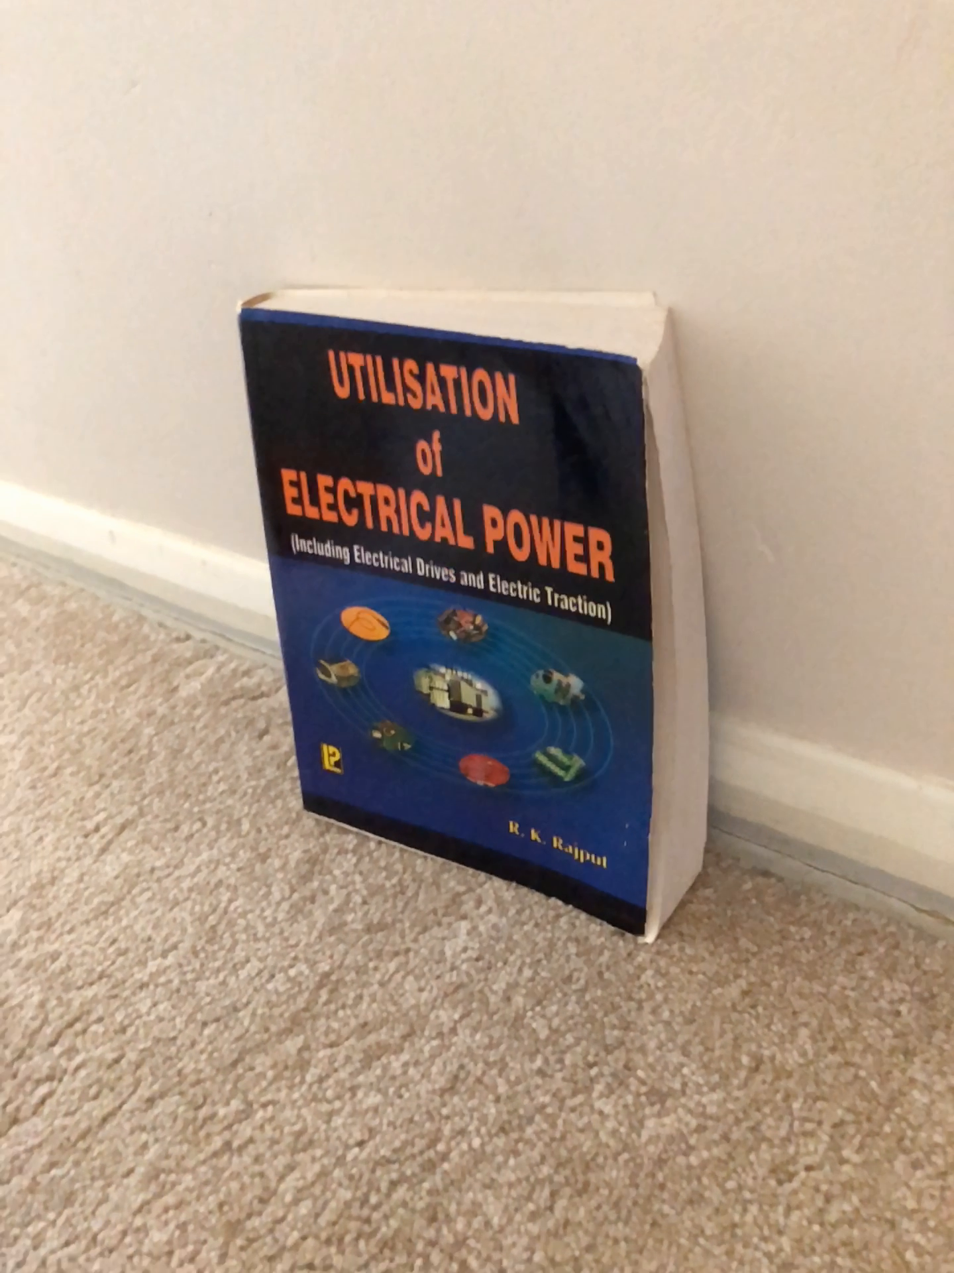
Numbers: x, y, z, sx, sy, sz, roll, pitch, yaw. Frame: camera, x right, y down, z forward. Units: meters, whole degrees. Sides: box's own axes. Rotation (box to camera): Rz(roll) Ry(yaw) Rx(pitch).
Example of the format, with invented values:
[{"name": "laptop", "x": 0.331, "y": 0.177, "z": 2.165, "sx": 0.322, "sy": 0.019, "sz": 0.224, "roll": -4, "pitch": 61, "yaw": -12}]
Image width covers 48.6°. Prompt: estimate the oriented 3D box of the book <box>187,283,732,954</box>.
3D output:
[{"name": "book", "x": -0.003, "y": -0.012, "z": 0.409, "sx": 0.191, "sy": 0.229, "sz": 0.050, "roll": 13, "pitch": 33, "yaw": 32}]
